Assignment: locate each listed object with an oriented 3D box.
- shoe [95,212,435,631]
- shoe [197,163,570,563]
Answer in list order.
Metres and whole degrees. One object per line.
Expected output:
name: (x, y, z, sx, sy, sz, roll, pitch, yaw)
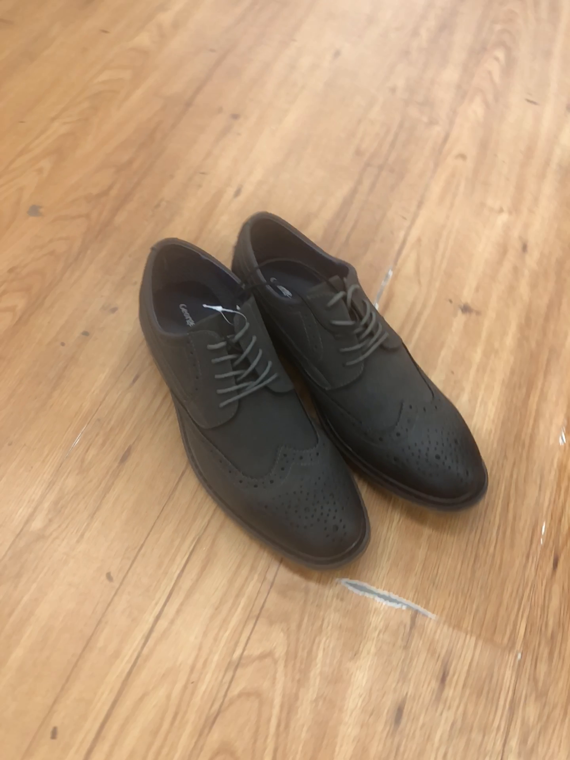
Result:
shoe: (-0.028, 0.021, 0.476, 0.110, 0.110, 0.280, -26, 62, -16)
shoe: (0.059, -0.022, 0.481, 0.110, 0.110, 0.280, -31, 64, -18)
